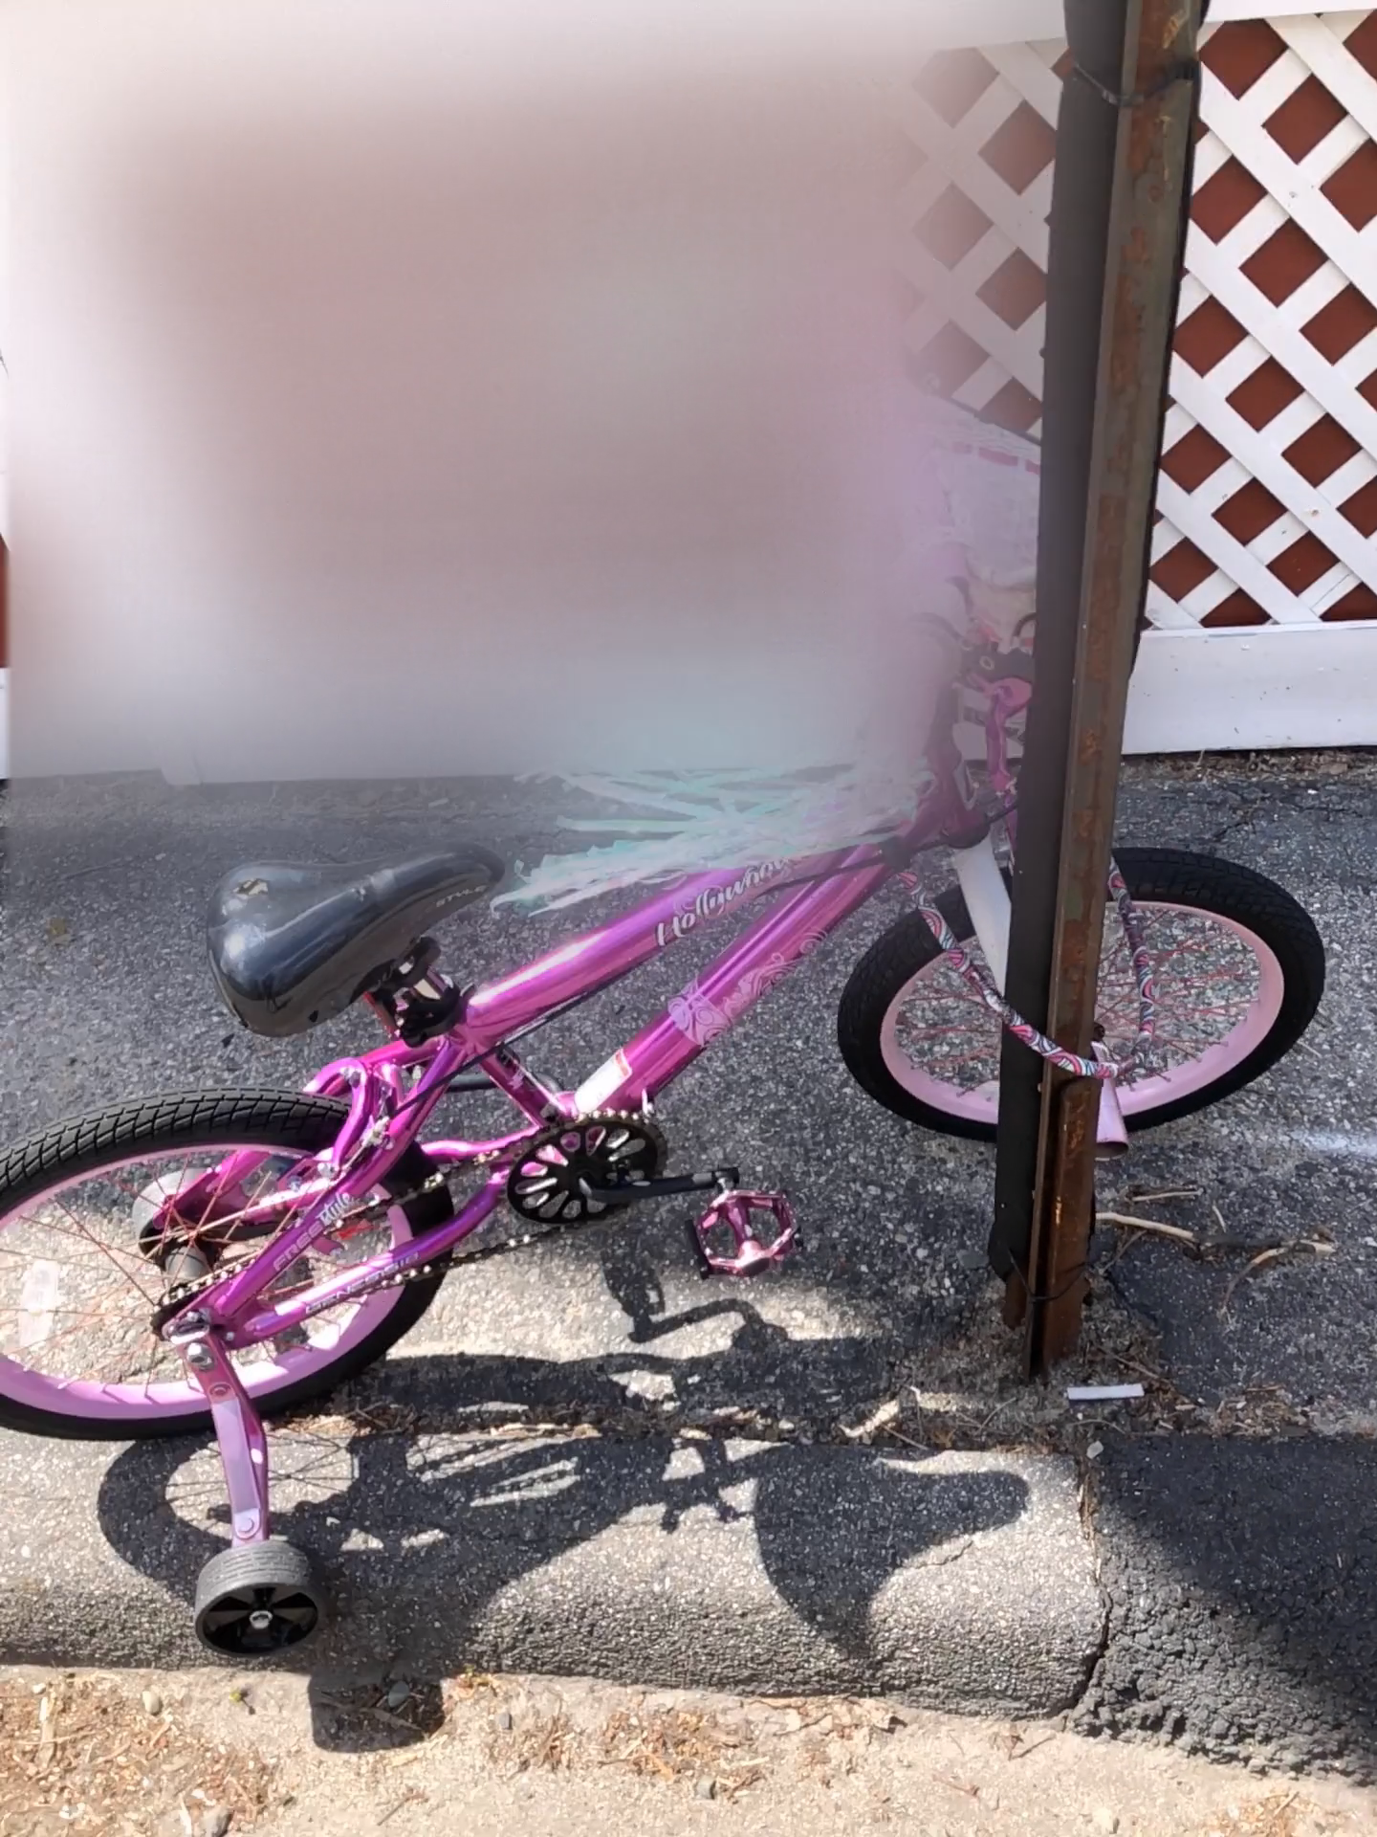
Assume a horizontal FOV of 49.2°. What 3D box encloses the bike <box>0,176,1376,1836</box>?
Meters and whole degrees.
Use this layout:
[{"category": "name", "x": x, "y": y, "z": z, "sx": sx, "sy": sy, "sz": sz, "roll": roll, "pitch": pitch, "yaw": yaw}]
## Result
[{"category": "bike", "x": -0.040, "y": 0.047, "z": 1.164, "sx": 1.225, "sy": 0.869, "sz": 0.617, "roll": -13, "pitch": 38, "yaw": -8}]
